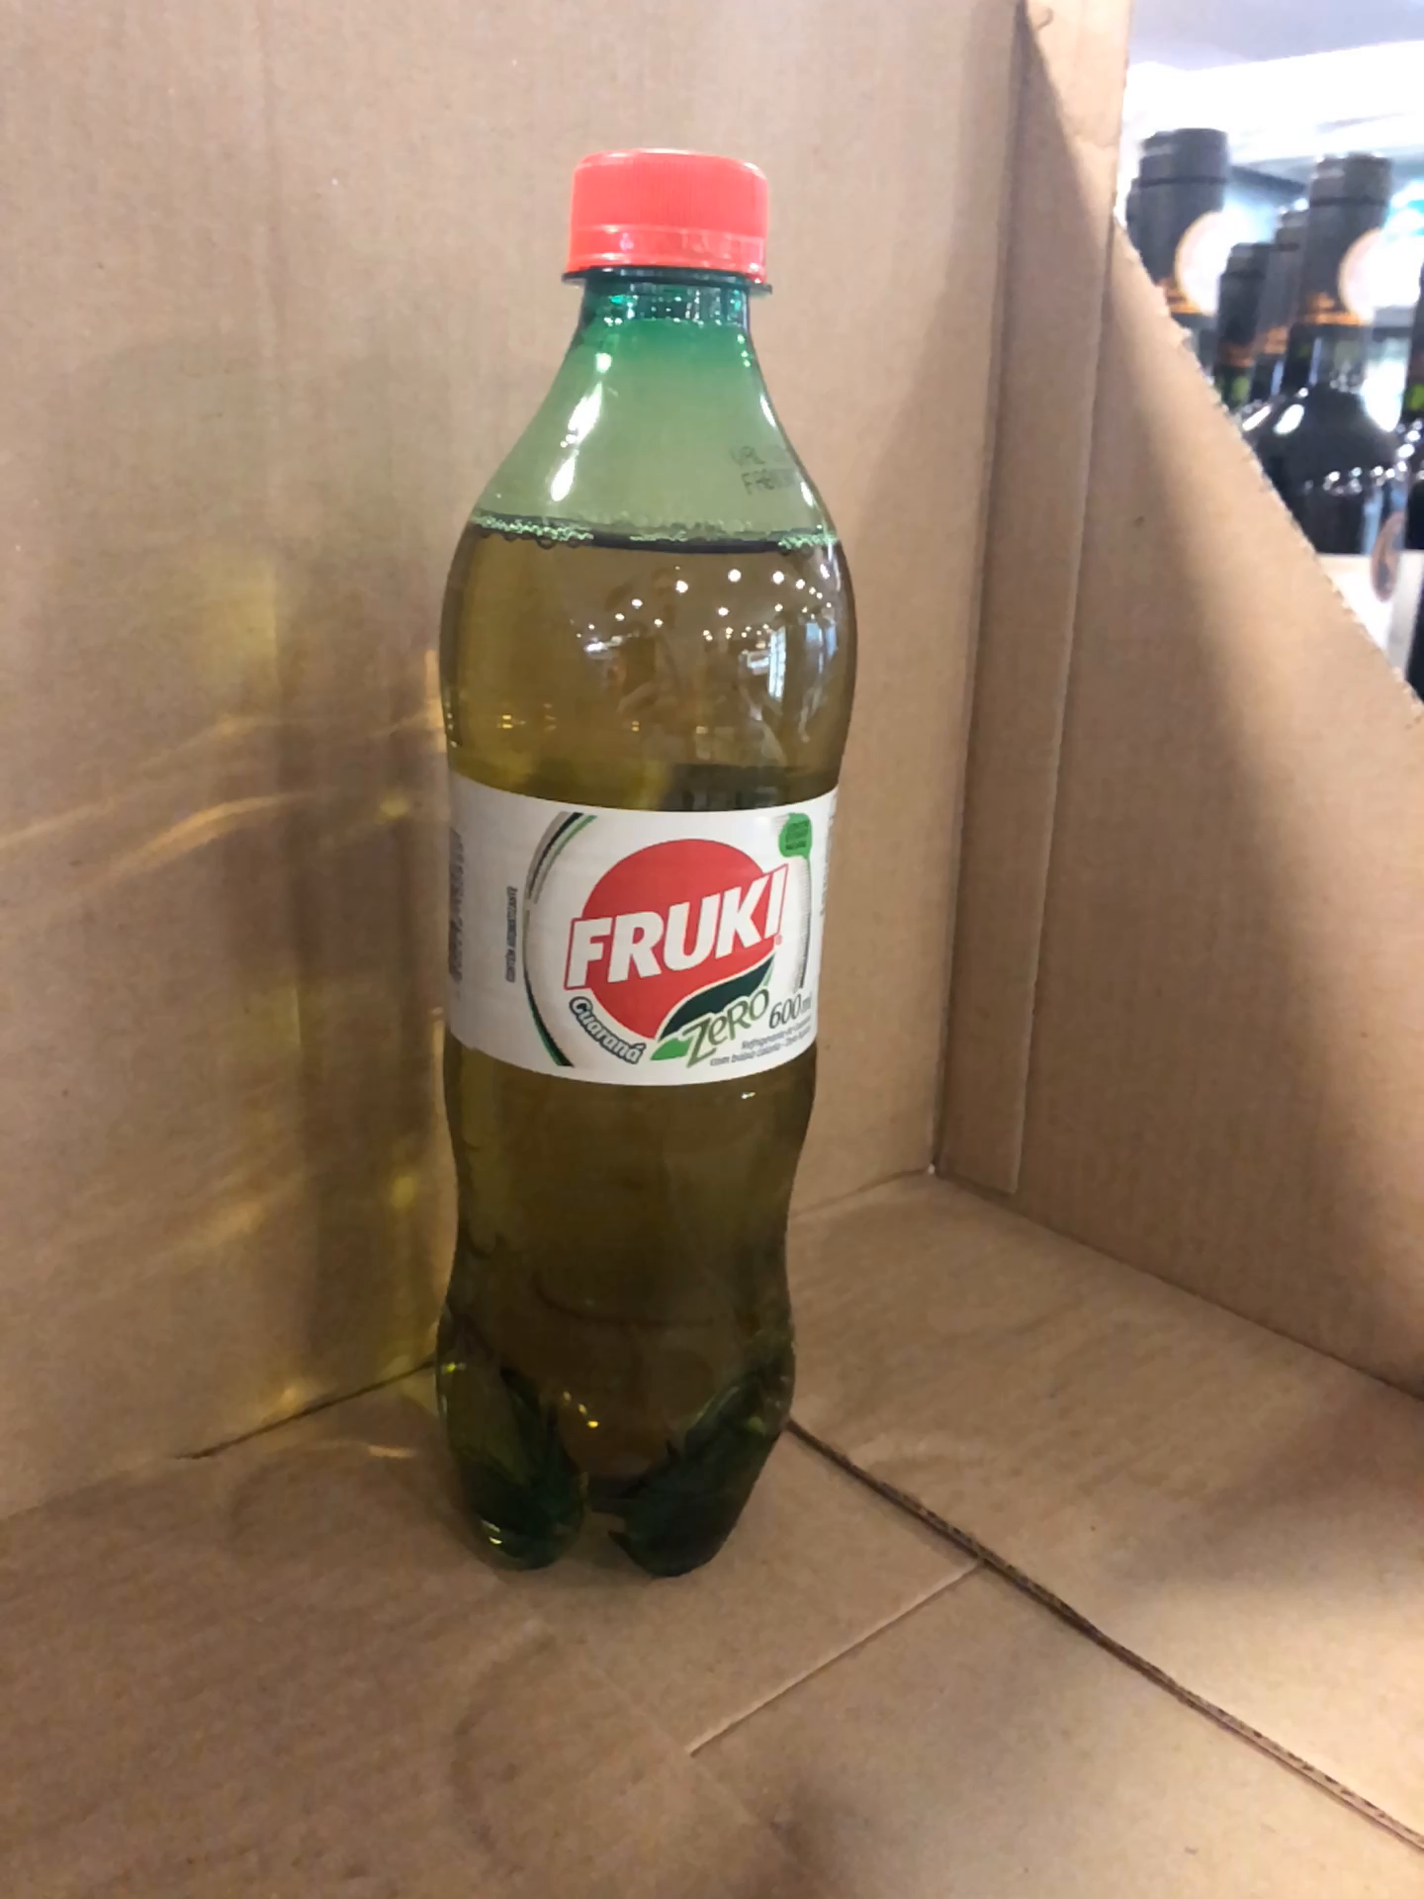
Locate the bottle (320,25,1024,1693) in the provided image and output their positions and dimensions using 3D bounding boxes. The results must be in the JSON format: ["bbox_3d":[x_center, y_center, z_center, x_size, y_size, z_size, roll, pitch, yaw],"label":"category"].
[{"bbox_3d":[-0.015,-0.010,0.273,0.080,0.239,0.080,2,16,-1],"label":"bottle"}]
